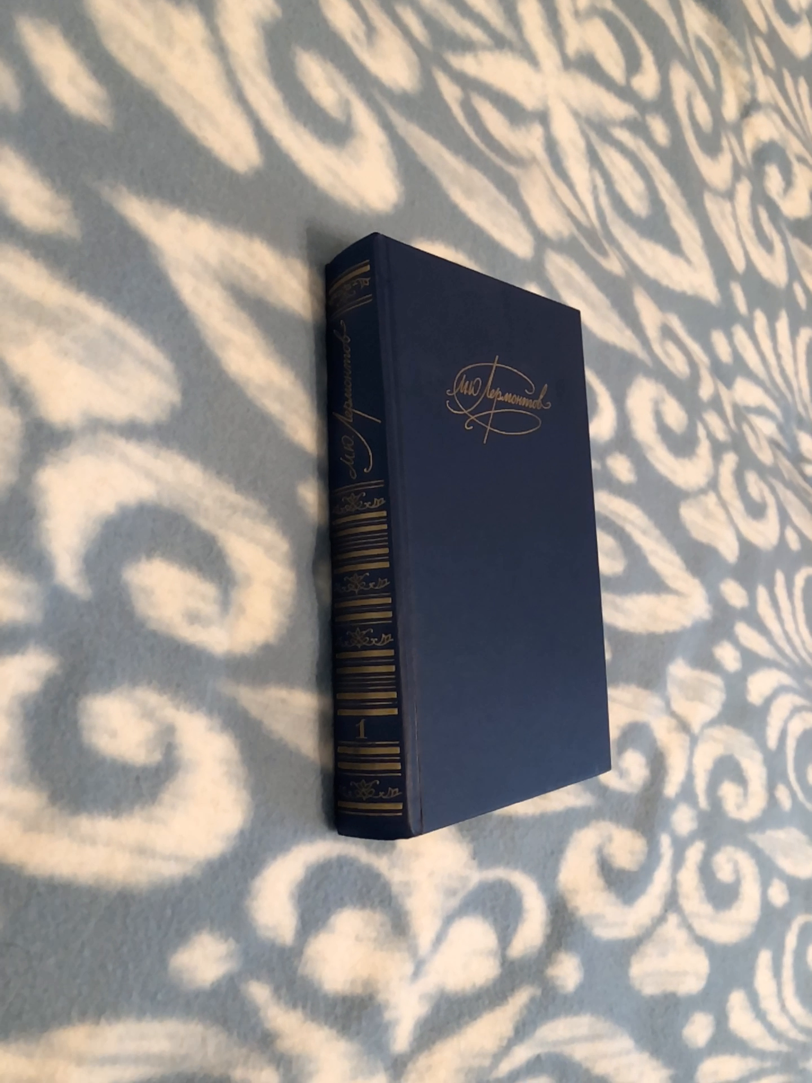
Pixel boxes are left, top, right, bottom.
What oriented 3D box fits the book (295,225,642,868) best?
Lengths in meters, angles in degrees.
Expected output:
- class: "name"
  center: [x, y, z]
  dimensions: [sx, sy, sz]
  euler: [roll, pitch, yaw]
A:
- class: "book"
  center: [0.029, 0.003, 0.341]
  dimensions: [0.139, 0.040, 0.200]
  euler: [3, 81, -46]
